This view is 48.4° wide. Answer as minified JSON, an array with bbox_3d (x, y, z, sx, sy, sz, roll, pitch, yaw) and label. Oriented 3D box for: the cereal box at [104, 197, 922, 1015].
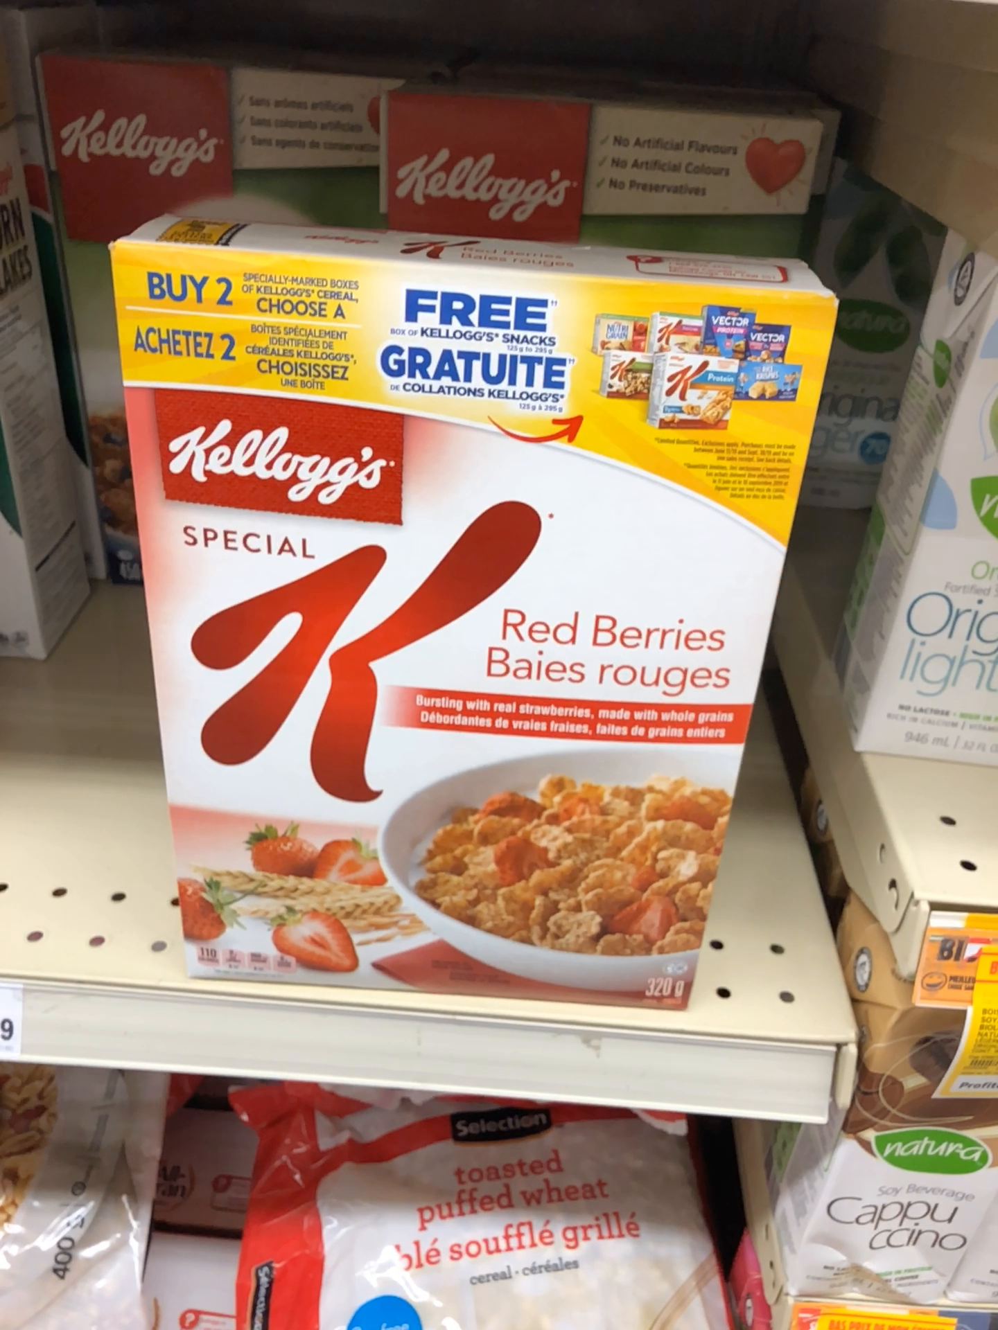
[{"bbox_3d":[-0.003,-0.002,0.345,0.190,0.248,0.050,4,32,1],"label":"cereal box"}]
